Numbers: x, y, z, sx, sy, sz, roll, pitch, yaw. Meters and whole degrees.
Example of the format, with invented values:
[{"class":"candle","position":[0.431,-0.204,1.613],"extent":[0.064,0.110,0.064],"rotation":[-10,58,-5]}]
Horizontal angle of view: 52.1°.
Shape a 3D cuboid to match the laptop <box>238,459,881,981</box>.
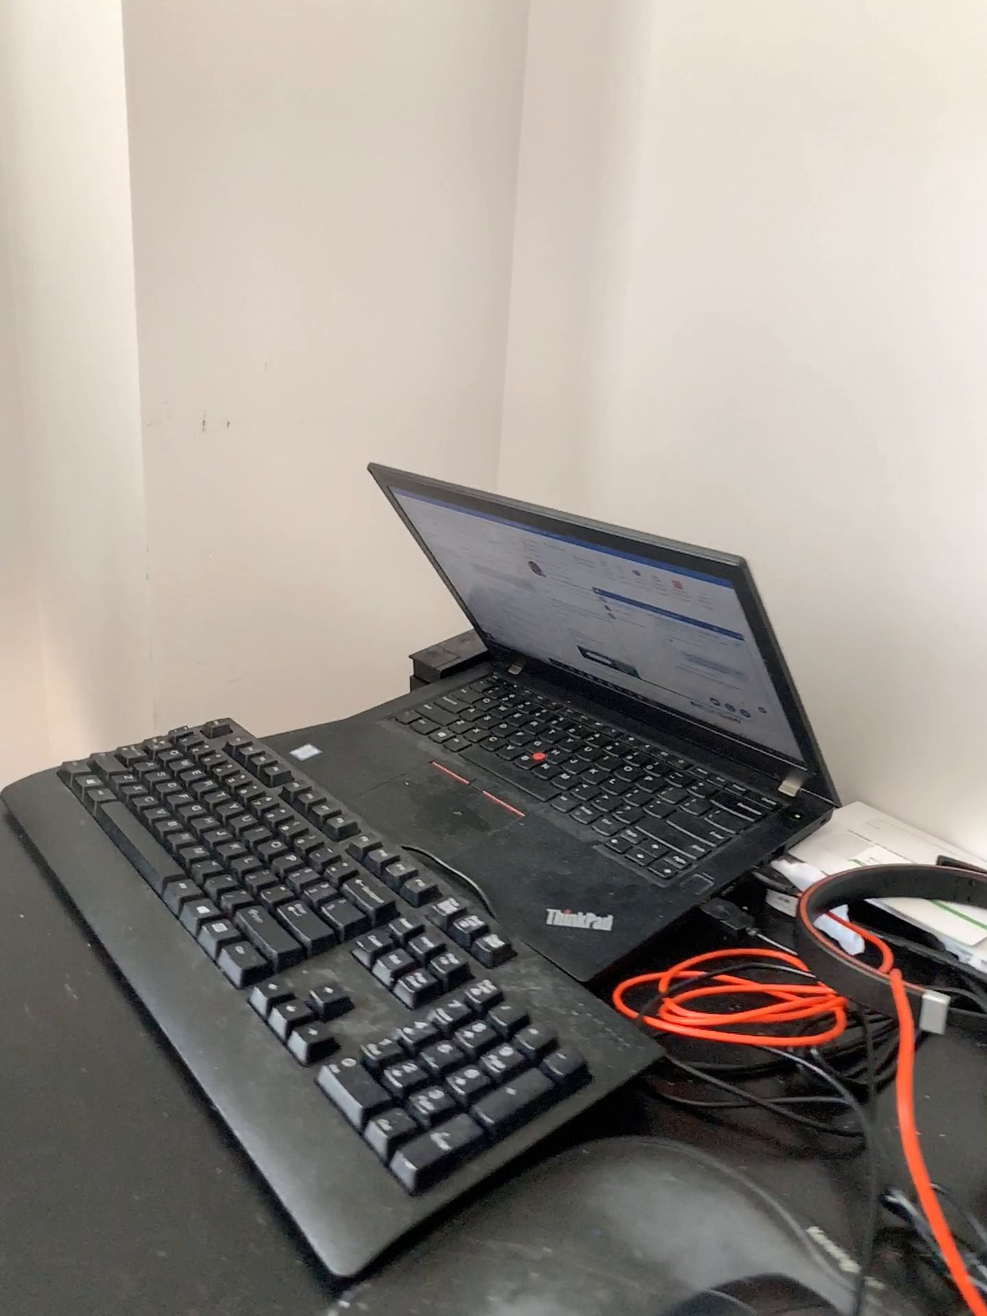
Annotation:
[{"class":"laptop","position":[0.022,0.000,0.668],"extent":[0.237,0.172,0.335],"rotation":[-18,28,-38]}]
